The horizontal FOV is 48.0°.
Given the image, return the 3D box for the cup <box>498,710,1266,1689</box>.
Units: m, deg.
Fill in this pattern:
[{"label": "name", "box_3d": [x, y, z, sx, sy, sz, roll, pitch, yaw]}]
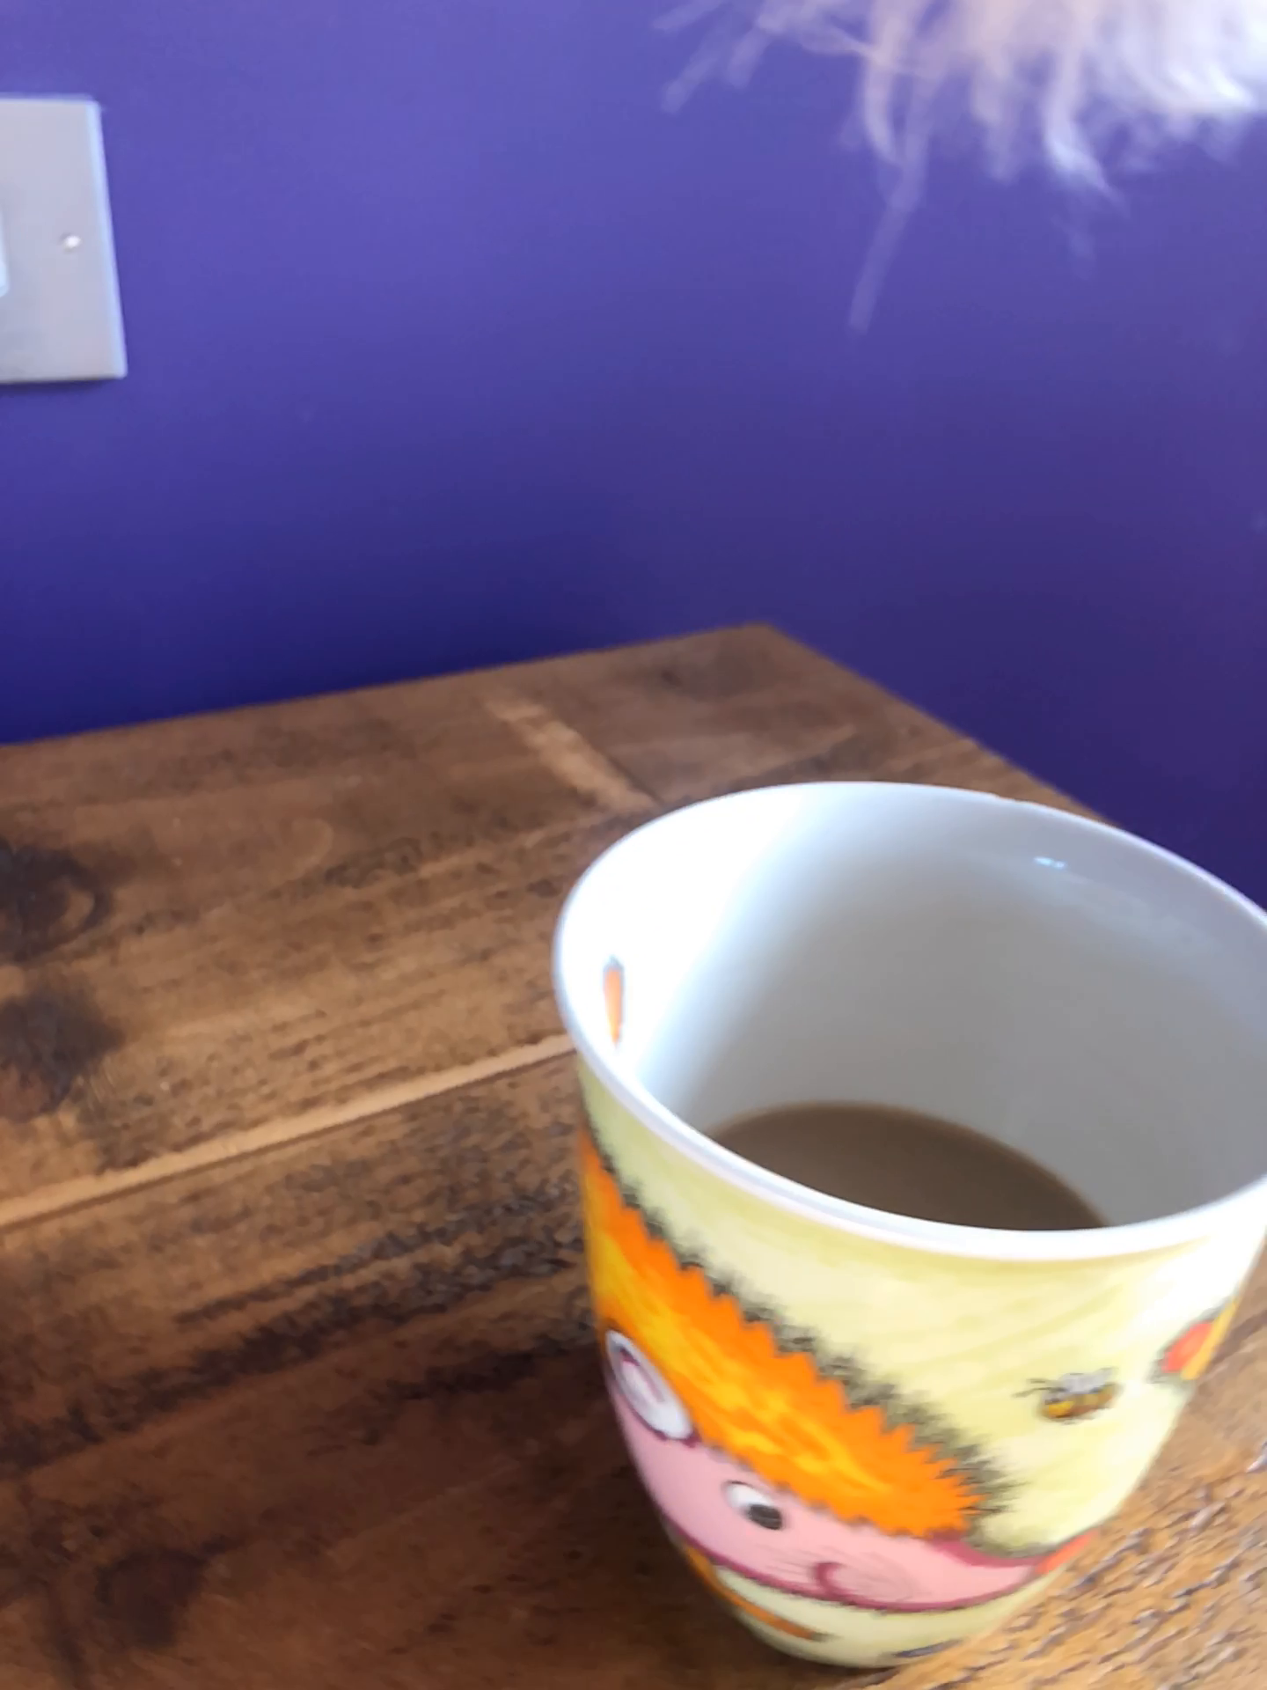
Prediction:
[{"label": "cup", "box_3d": [0.038, 0.049, 0.219, 0.107, 0.089, 0.128, 2, 29, -2]}]
